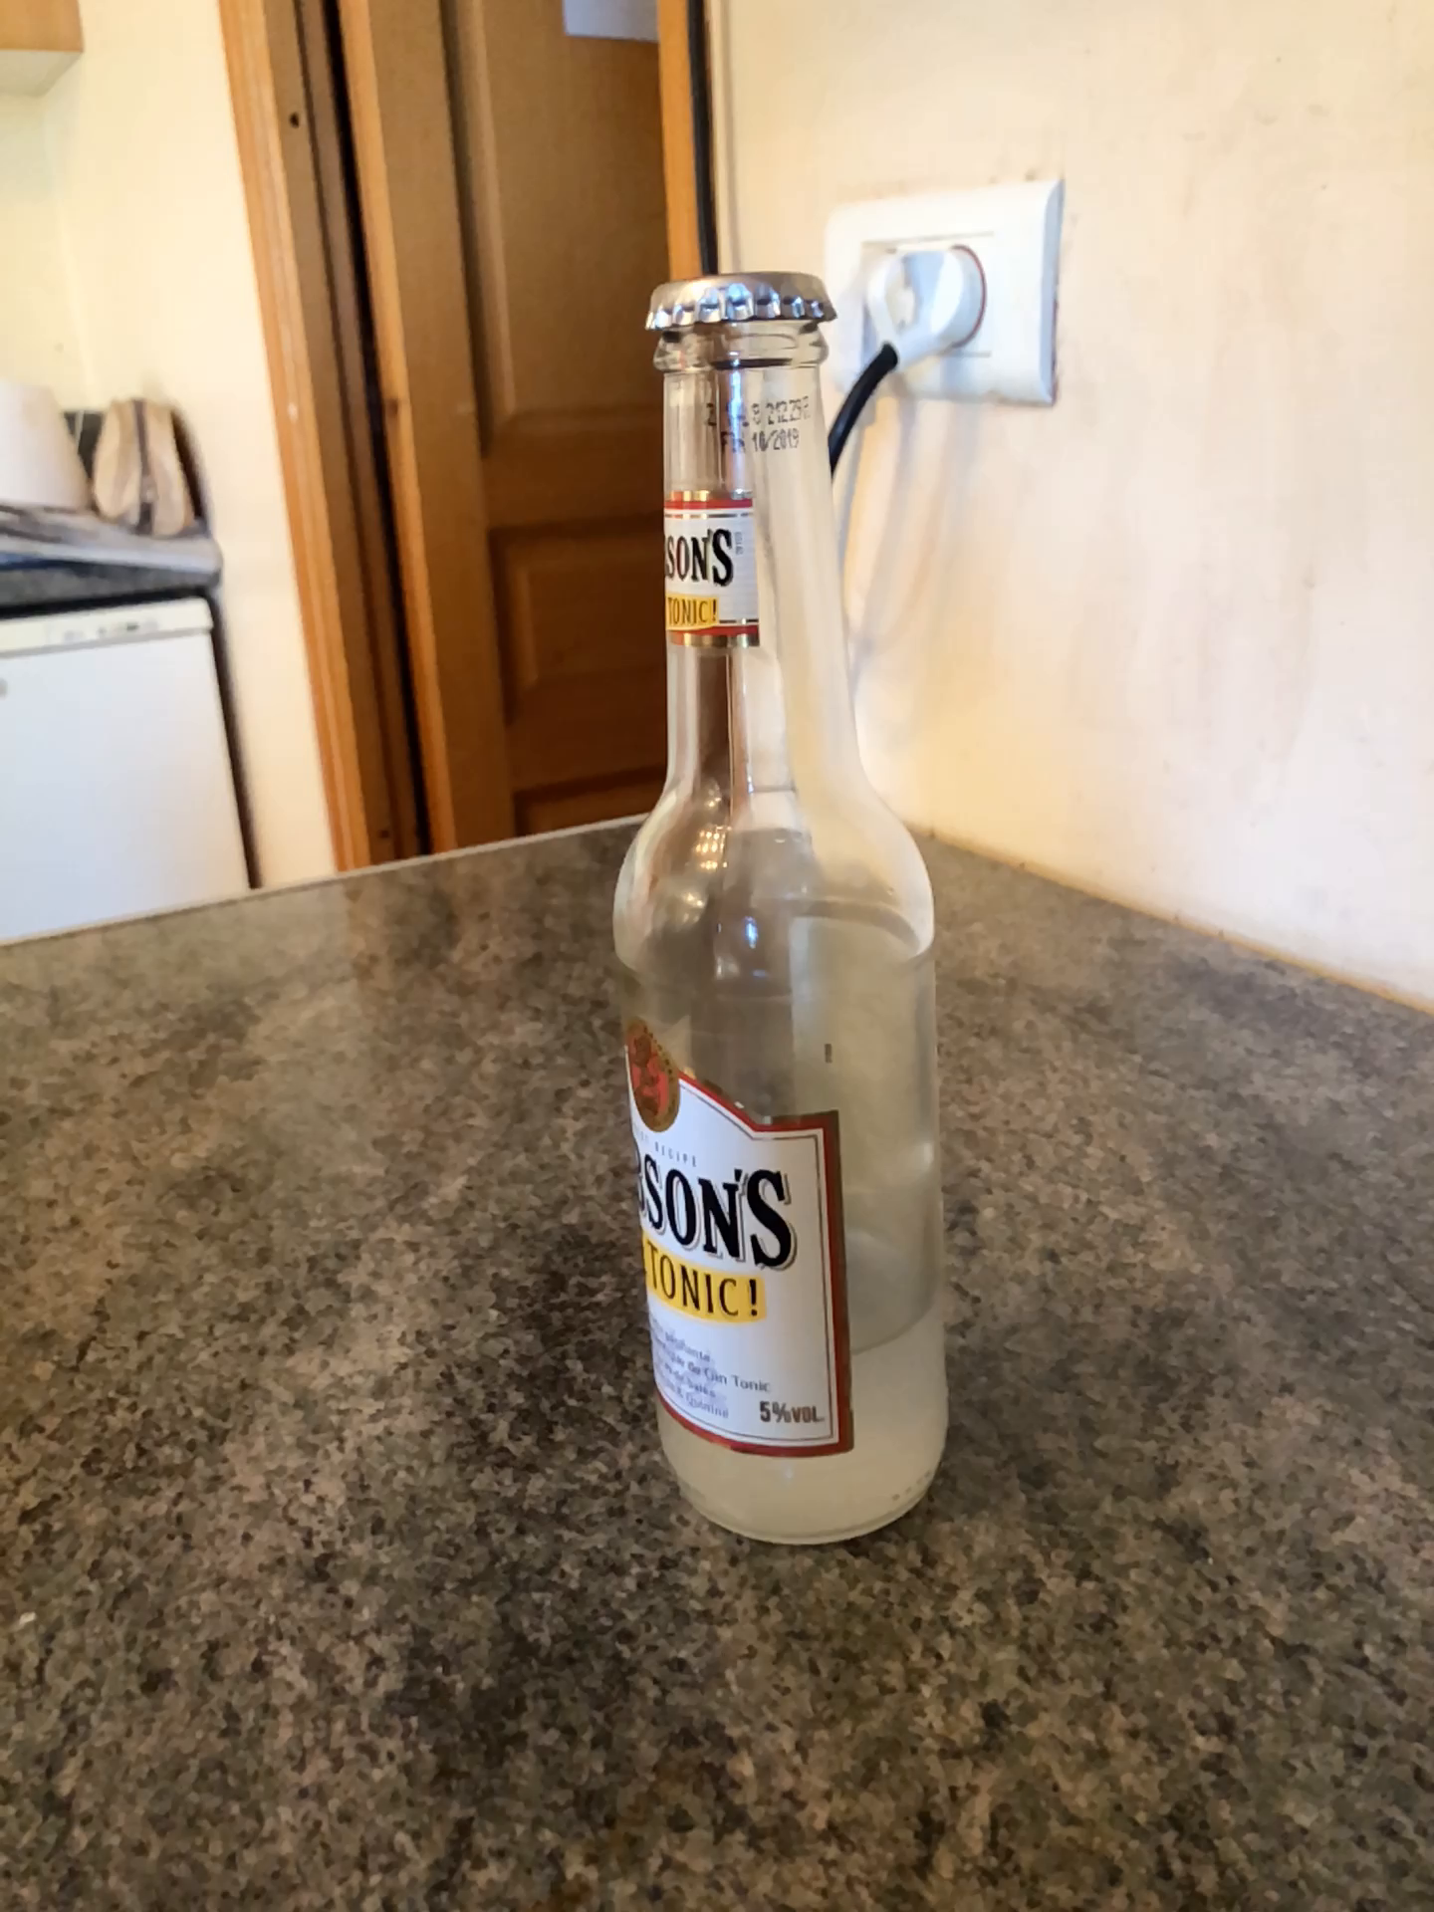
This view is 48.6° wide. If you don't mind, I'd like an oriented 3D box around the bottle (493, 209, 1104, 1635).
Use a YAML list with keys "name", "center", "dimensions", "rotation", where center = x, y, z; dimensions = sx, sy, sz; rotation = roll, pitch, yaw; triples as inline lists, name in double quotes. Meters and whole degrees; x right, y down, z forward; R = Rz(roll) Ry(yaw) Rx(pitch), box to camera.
- name: "bottle"
  center: [0.014, -0.005, 0.265]
  dimensions: [0.060, 0.209, 0.070]
  rotation: [-14, 21, -30]
